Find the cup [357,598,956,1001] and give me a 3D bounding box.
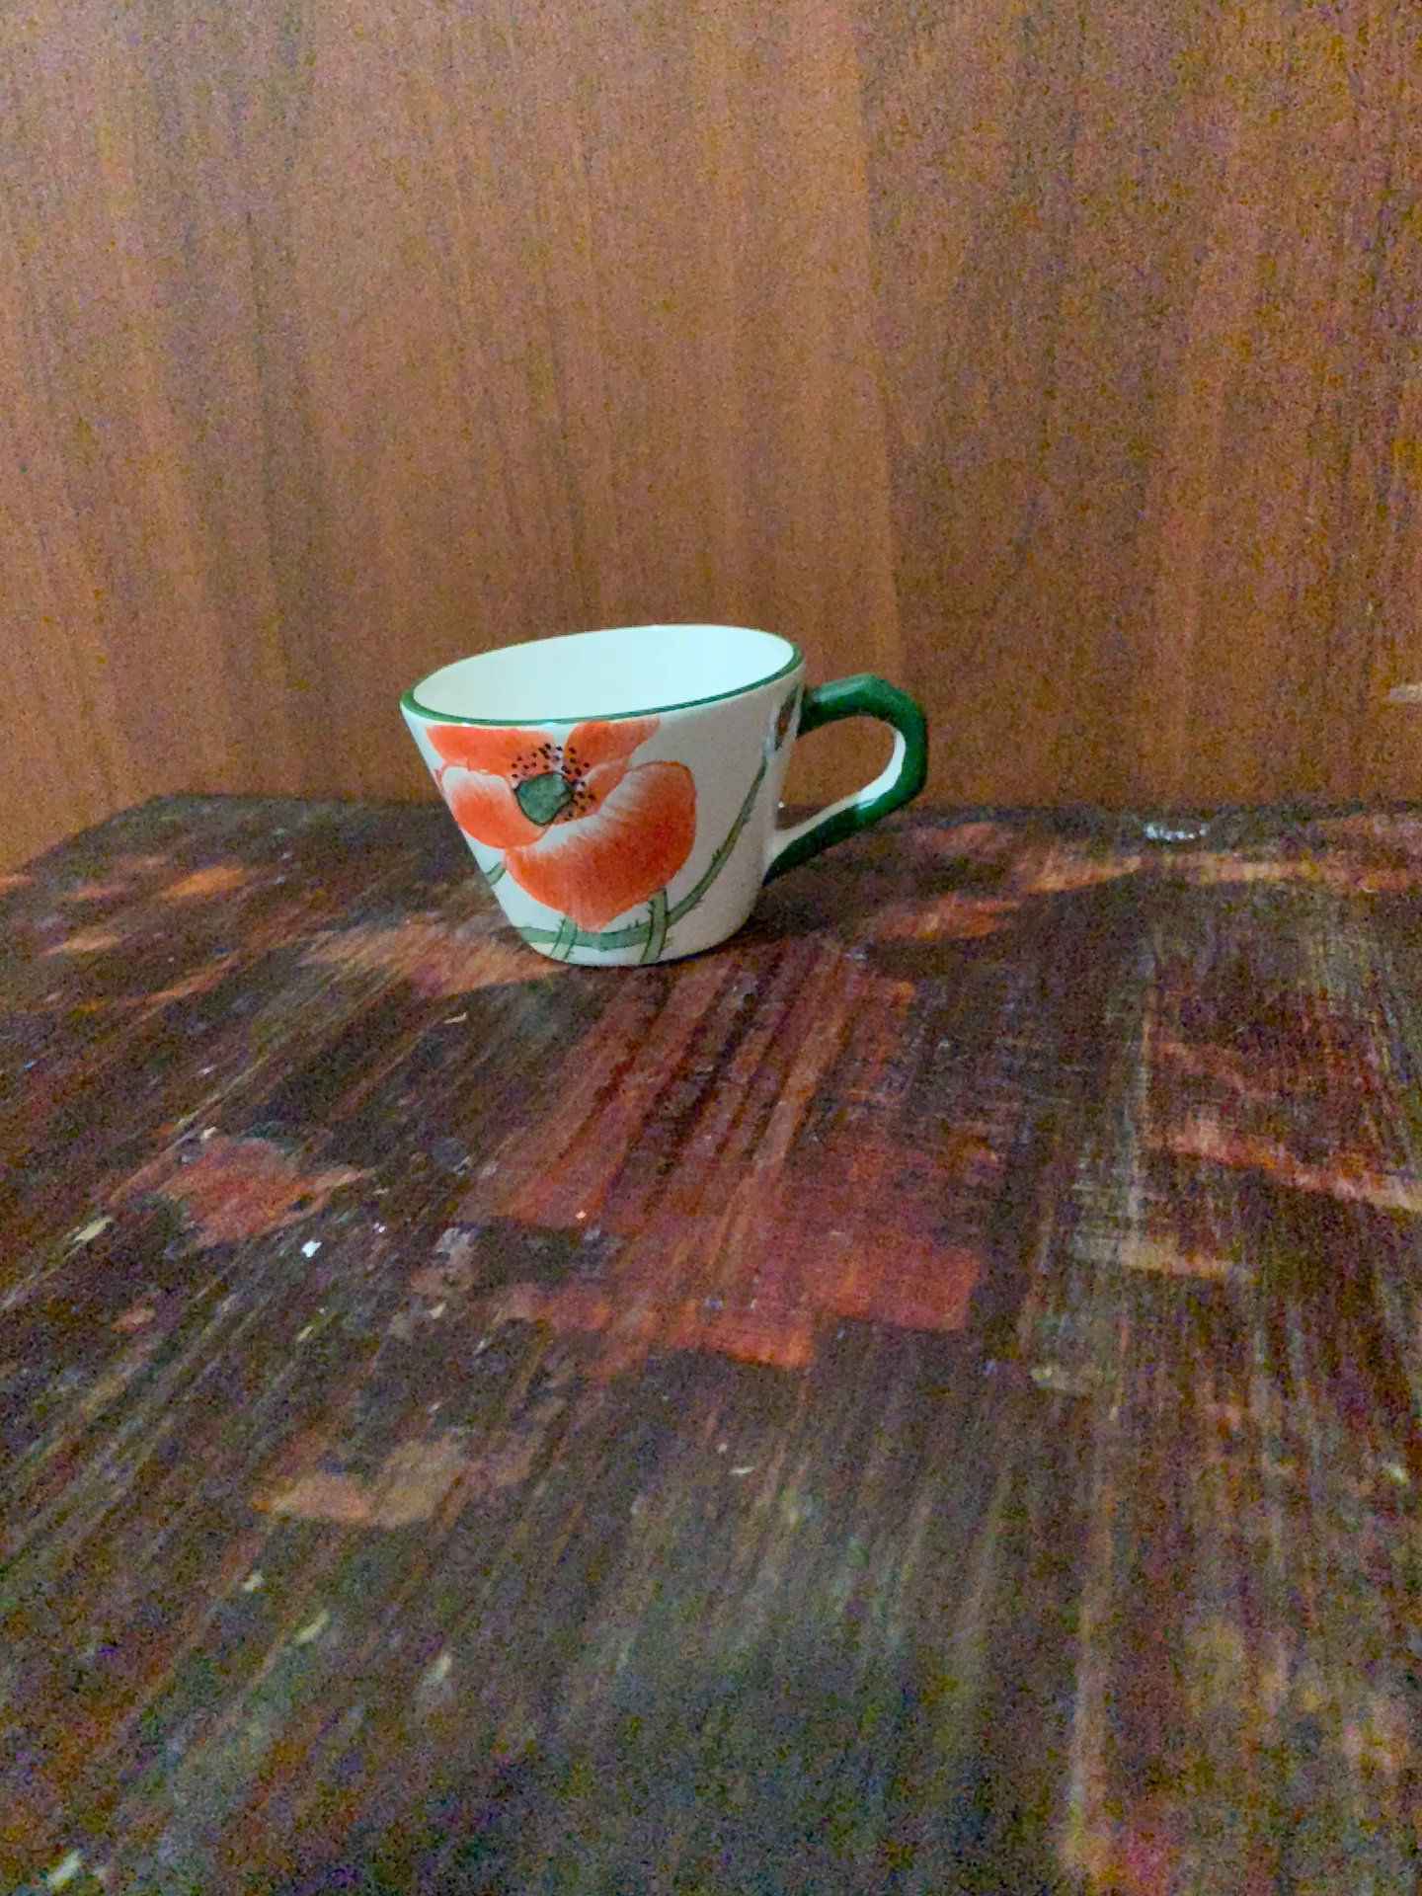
[{"bbox_3d":[-0.007,-0.031,0.280,0.094,0.045,0.076,-6,23,4],"label":"cup"}]
